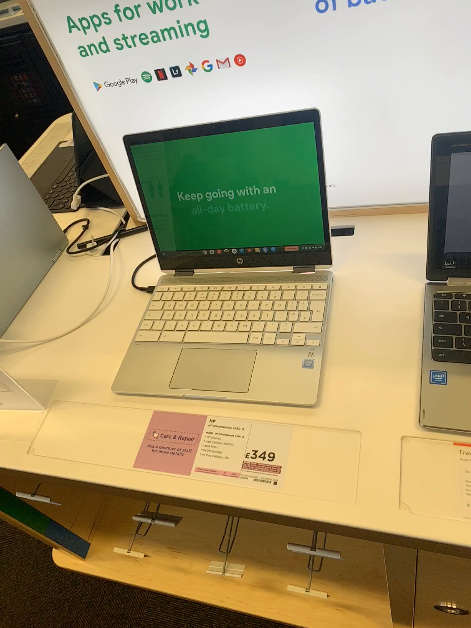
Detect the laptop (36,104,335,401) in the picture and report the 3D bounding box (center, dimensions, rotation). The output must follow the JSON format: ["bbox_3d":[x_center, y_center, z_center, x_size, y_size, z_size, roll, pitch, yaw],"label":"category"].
[{"bbox_3d":[-0.031,-0.073,0.592,0.258,0.190,0.271,0,52,21],"label":"laptop"}]
